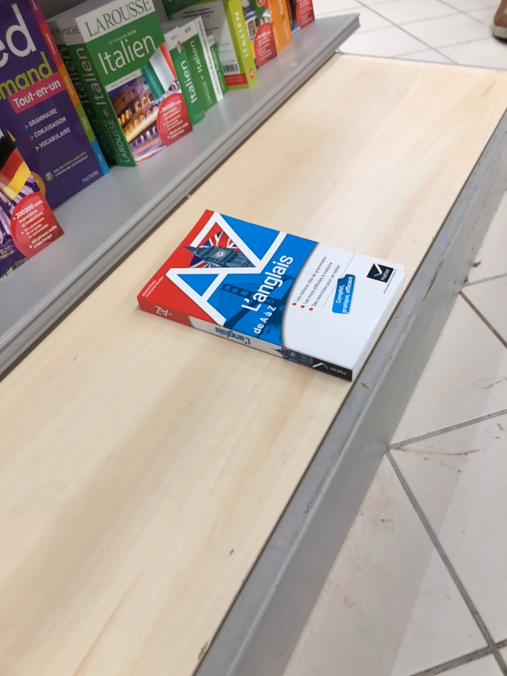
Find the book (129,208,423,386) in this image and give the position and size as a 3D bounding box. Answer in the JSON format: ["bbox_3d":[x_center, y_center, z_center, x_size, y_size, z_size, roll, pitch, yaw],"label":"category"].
[{"bbox_3d":[0.022,-0.051,0.528,0.234,0.030,0.144,17,50,23],"label":"book"}]
